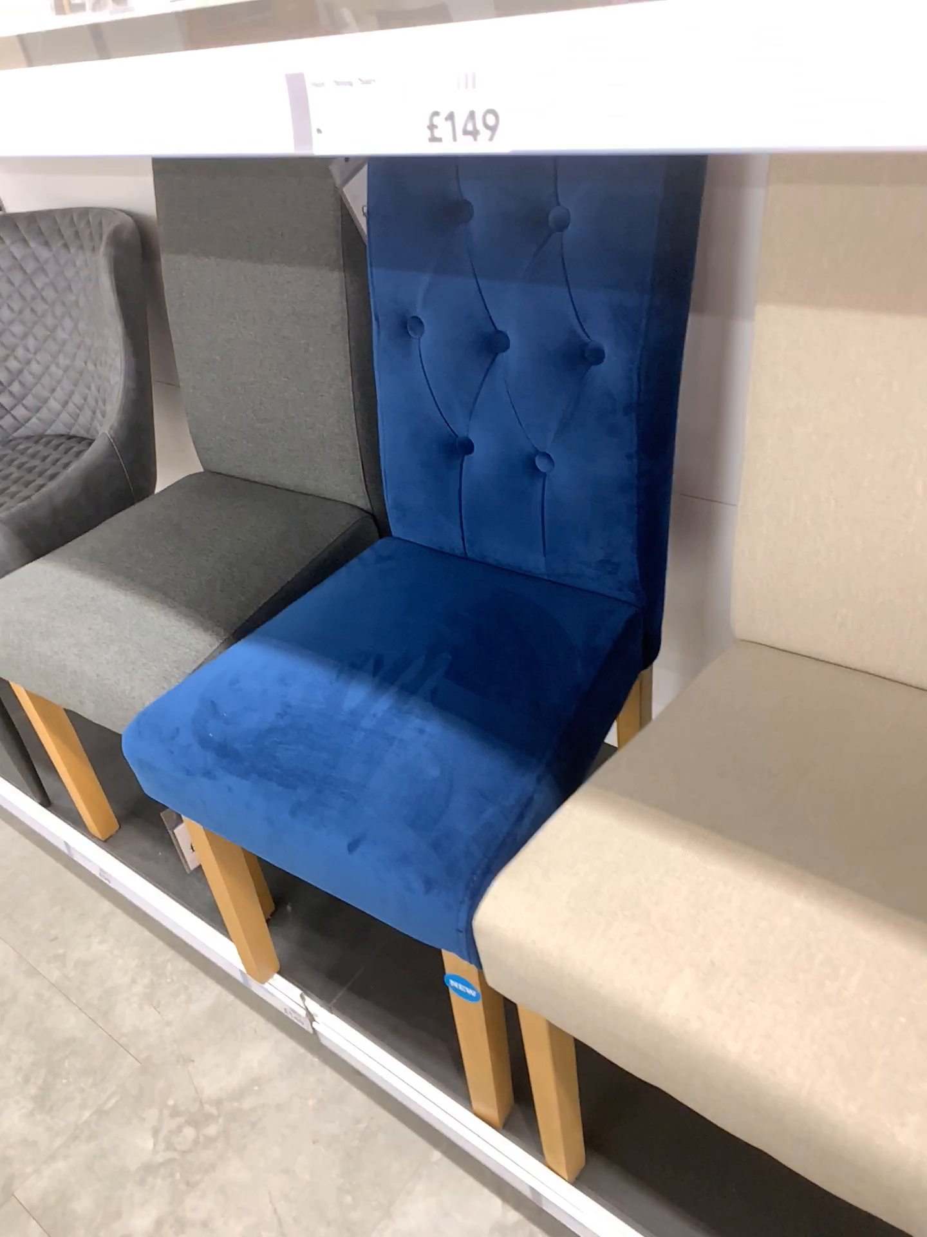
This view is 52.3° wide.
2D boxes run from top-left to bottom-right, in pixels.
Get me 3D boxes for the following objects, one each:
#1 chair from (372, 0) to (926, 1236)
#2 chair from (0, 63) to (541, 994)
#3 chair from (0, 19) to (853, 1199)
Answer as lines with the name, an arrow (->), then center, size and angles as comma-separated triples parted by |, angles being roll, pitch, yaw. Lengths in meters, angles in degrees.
chair -> 0.396, 0.081, 0.815 | 0.491, 1.034, 0.670 | 18, 39, 34
chair -> -0.301, -0.157, 1.348 | 0.491, 1.024, 0.670 | 18, 39, 34
chair -> 0.022, -0.044, 1.092 | 0.491, 1.034, 0.670 | 18, 39, 34
